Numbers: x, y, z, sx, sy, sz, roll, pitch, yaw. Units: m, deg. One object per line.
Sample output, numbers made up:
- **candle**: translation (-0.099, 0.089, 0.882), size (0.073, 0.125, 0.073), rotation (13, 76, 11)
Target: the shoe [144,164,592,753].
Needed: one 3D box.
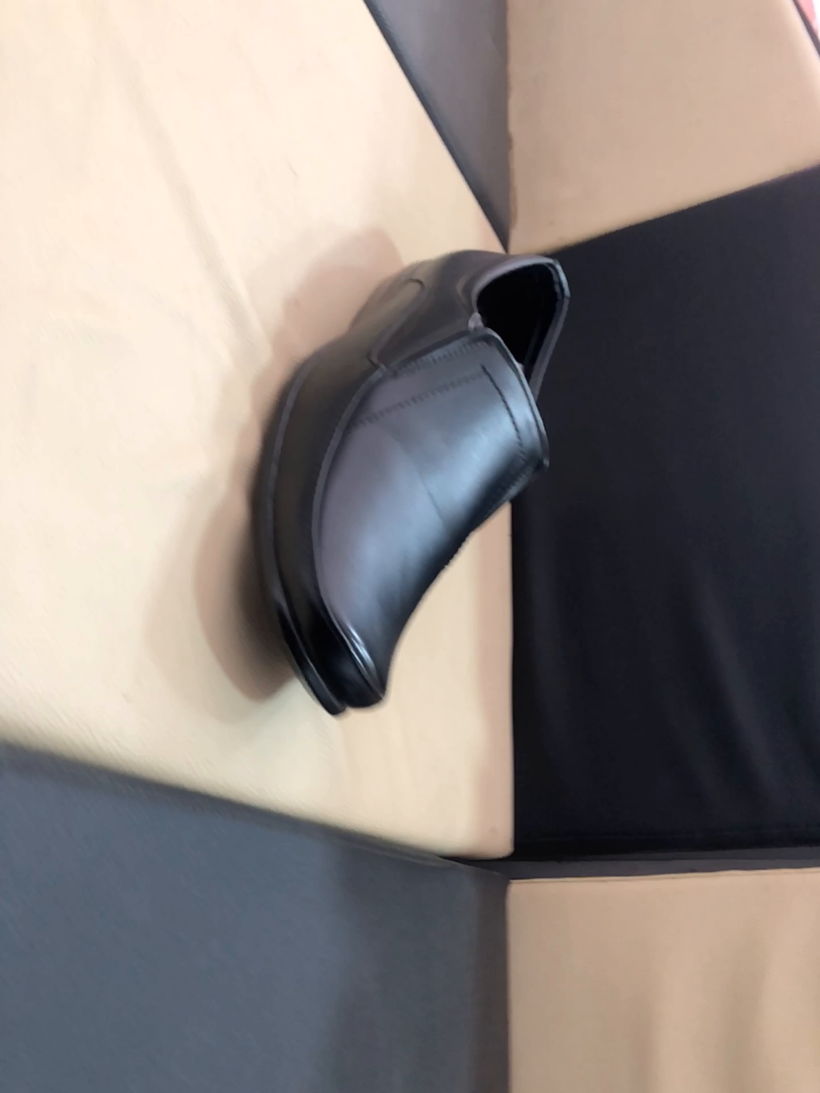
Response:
- **shoe**: translation (0.009, -0.058, 0.413), size (0.291, 0.099, 0.100), rotation (-71, 144, -46)
